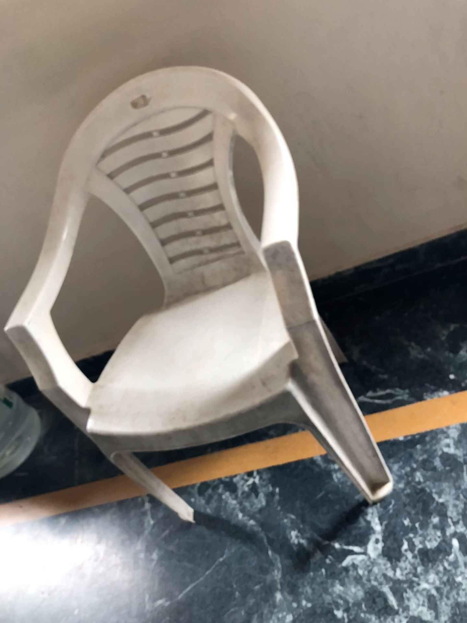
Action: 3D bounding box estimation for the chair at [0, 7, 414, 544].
[{"bbox_3d":[-0.070,-0.025,1.091,0.579,0.776,0.624,-18,39,19],"label":"chair"}]
